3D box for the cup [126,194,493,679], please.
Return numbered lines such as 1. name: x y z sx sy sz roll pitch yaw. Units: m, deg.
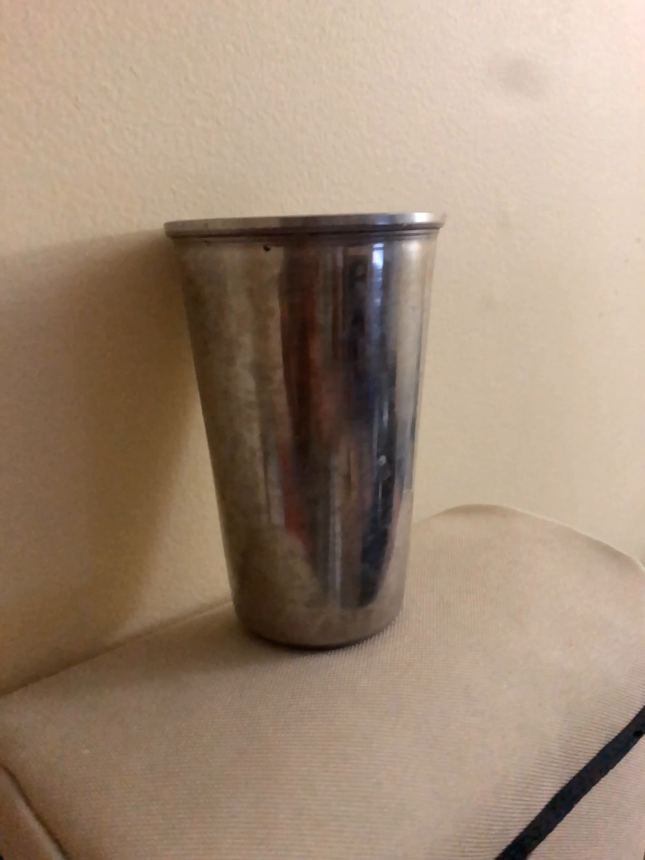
1. cup: -0.002 -0.006 0.215 0.074 0.113 0.073 -2 13 1
